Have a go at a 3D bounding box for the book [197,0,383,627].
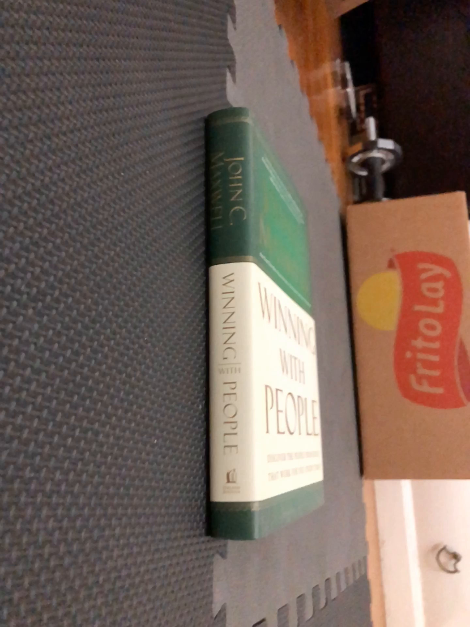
[{"bbox_3d":[0.036,-0.005,0.271,0.201,0.030,0.290,37,48,-64],"label":"book"}]
